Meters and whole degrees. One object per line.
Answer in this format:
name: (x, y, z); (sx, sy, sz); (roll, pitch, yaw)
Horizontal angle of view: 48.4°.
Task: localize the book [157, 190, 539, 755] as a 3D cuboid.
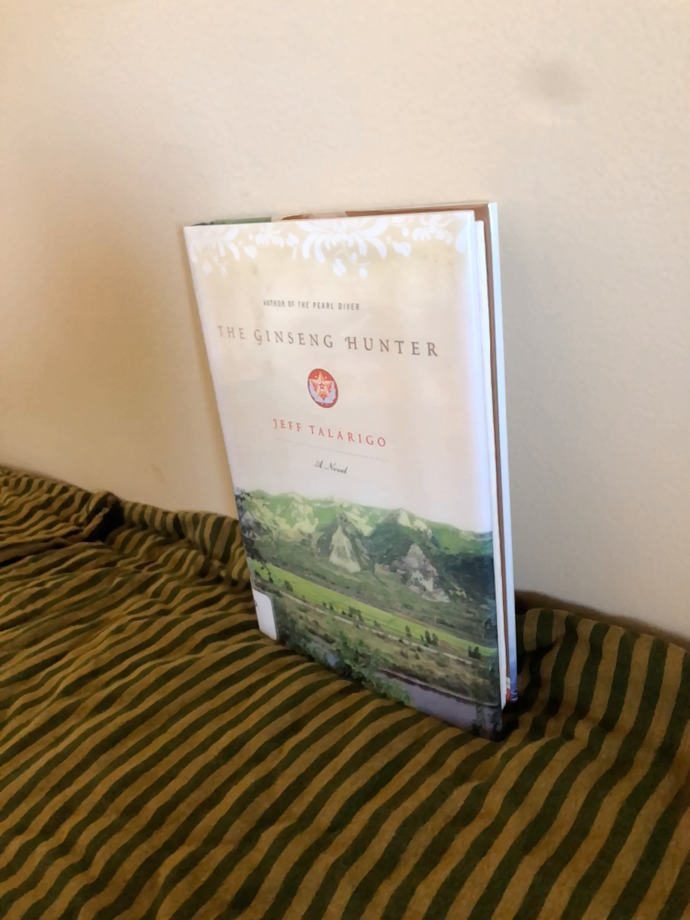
book: (0.004, 0.005, 0.302); (0.137, 0.203, 0.029); (13, 32, 36)
